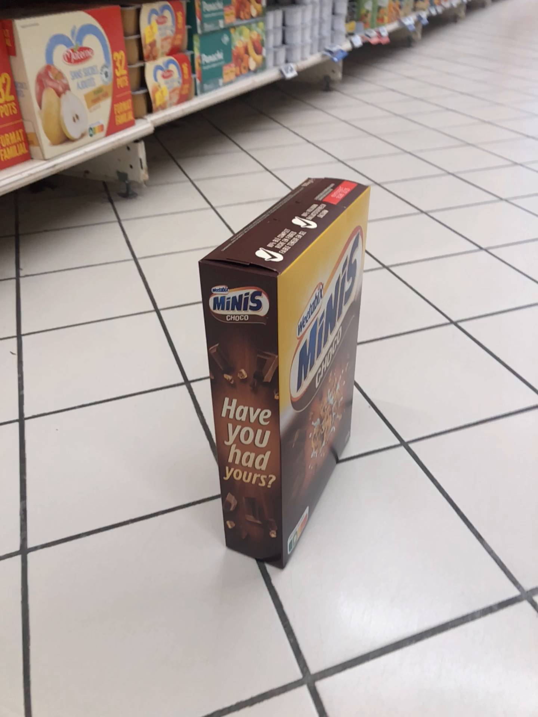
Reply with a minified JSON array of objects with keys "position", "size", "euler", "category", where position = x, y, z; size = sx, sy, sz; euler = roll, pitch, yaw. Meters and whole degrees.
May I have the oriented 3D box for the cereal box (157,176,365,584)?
[{"position":[0.008,0.015,0.525],"size":[0.080,0.288,0.201],"euler":[13,36,21],"category":"cereal box"}]
